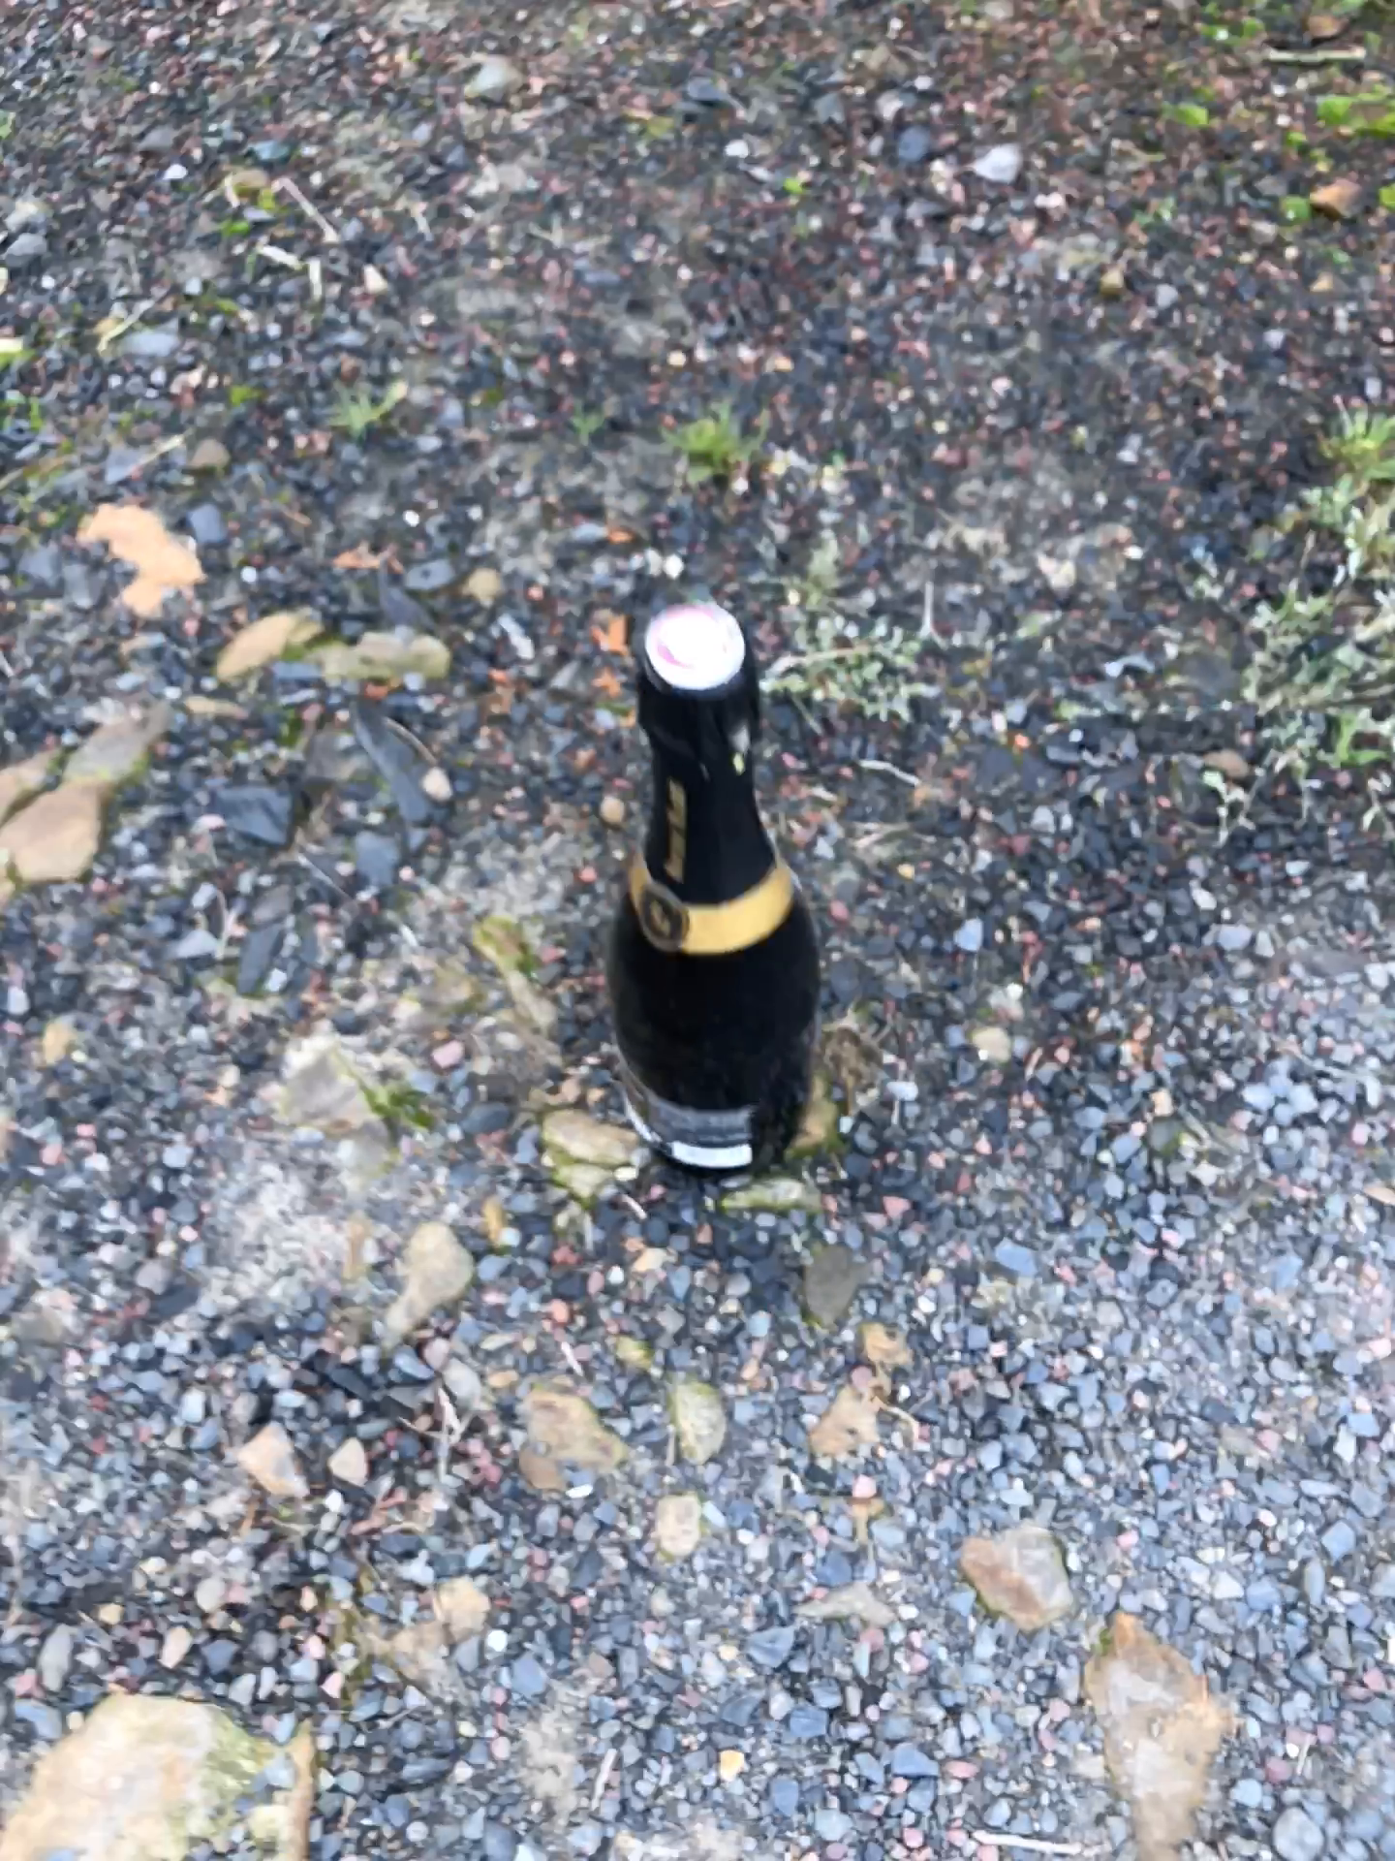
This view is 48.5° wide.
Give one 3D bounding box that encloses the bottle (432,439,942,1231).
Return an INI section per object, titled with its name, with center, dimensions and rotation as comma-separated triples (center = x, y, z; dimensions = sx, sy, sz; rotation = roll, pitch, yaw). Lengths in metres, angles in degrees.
[bottle]
center = 0.004, -0.011, 0.554
dimensions = 0.100, 0.299, 0.100
rotation = -1, 59, 2
